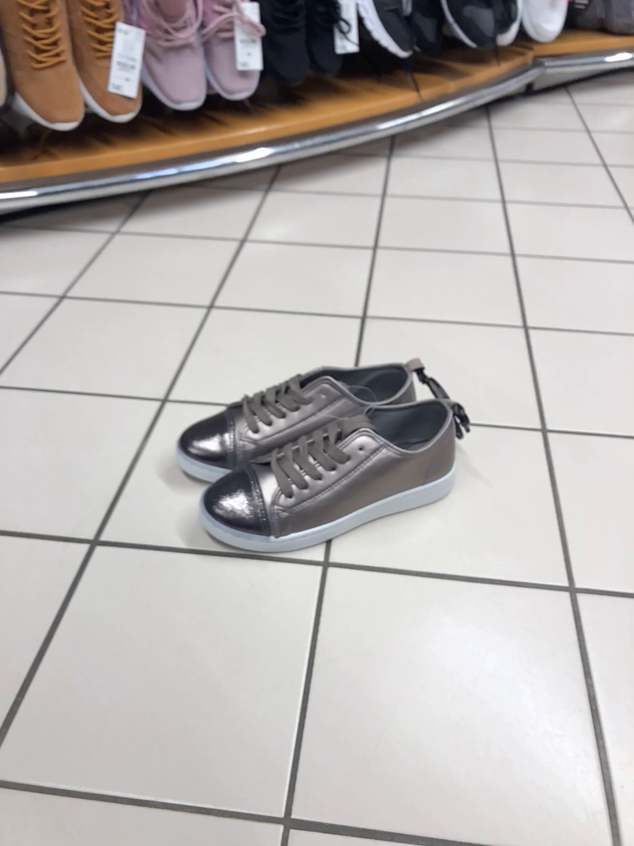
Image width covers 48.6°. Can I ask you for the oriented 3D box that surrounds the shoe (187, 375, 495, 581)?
[{"bbox_3d":[0.021,0.041,0.607,0.241,0.080,0.090,-14,41,-17],"label":"shoe"}]

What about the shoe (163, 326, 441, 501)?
[{"bbox_3d":[-0.014,-0.014,0.671,0.241,0.080,0.090,-13,41,-16],"label":"shoe"}]
